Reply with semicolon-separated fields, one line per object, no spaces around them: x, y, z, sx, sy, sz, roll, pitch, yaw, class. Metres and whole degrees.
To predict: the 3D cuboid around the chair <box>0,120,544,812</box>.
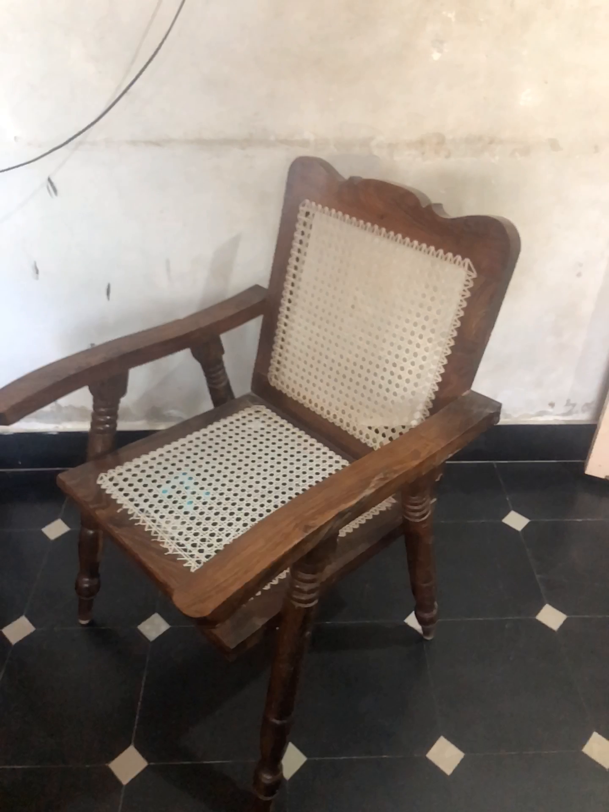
-0.102;0.071;1.075;0.581;0.796;0.562;30;46;33;chair
